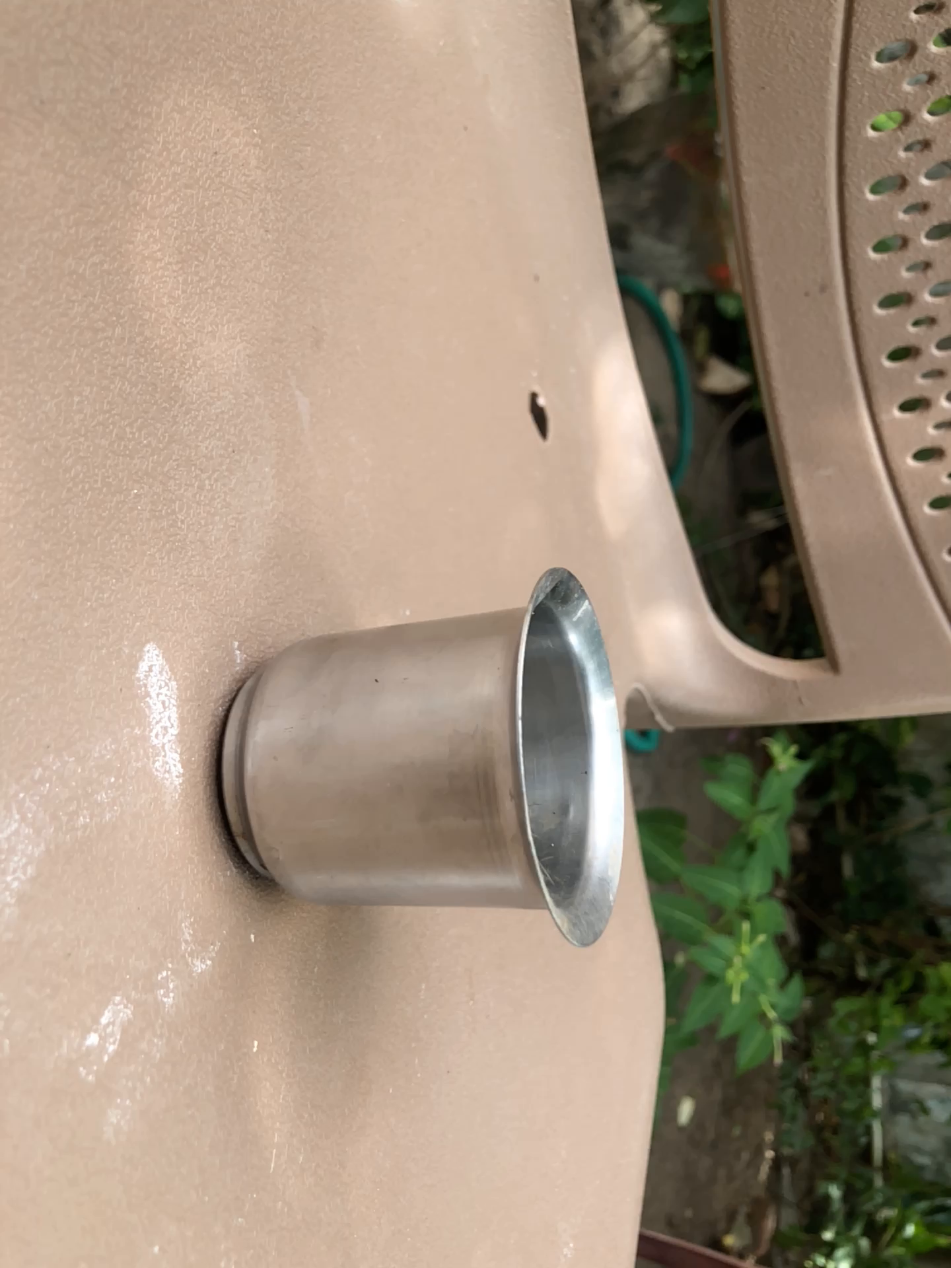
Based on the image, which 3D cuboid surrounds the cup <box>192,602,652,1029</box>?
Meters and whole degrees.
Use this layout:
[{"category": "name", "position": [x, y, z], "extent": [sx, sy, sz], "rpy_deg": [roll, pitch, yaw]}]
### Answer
[{"category": "cup", "position": [-0.007, 0.027, 0.190], "extent": [0.060, 0.060, 0.060], "rpy_deg": [-1, 90, -65]}]
